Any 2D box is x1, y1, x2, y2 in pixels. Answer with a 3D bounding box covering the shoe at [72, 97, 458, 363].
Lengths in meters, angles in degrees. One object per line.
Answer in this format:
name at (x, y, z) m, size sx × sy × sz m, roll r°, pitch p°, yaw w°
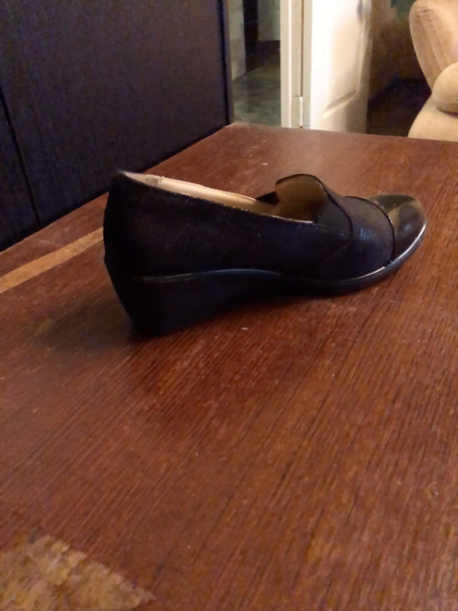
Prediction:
shoe at (0.036, -0.060, 0.324) m, size 0.235 × 0.090 × 0.090 m, roll -17°, pitch 36°, yaw -18°
